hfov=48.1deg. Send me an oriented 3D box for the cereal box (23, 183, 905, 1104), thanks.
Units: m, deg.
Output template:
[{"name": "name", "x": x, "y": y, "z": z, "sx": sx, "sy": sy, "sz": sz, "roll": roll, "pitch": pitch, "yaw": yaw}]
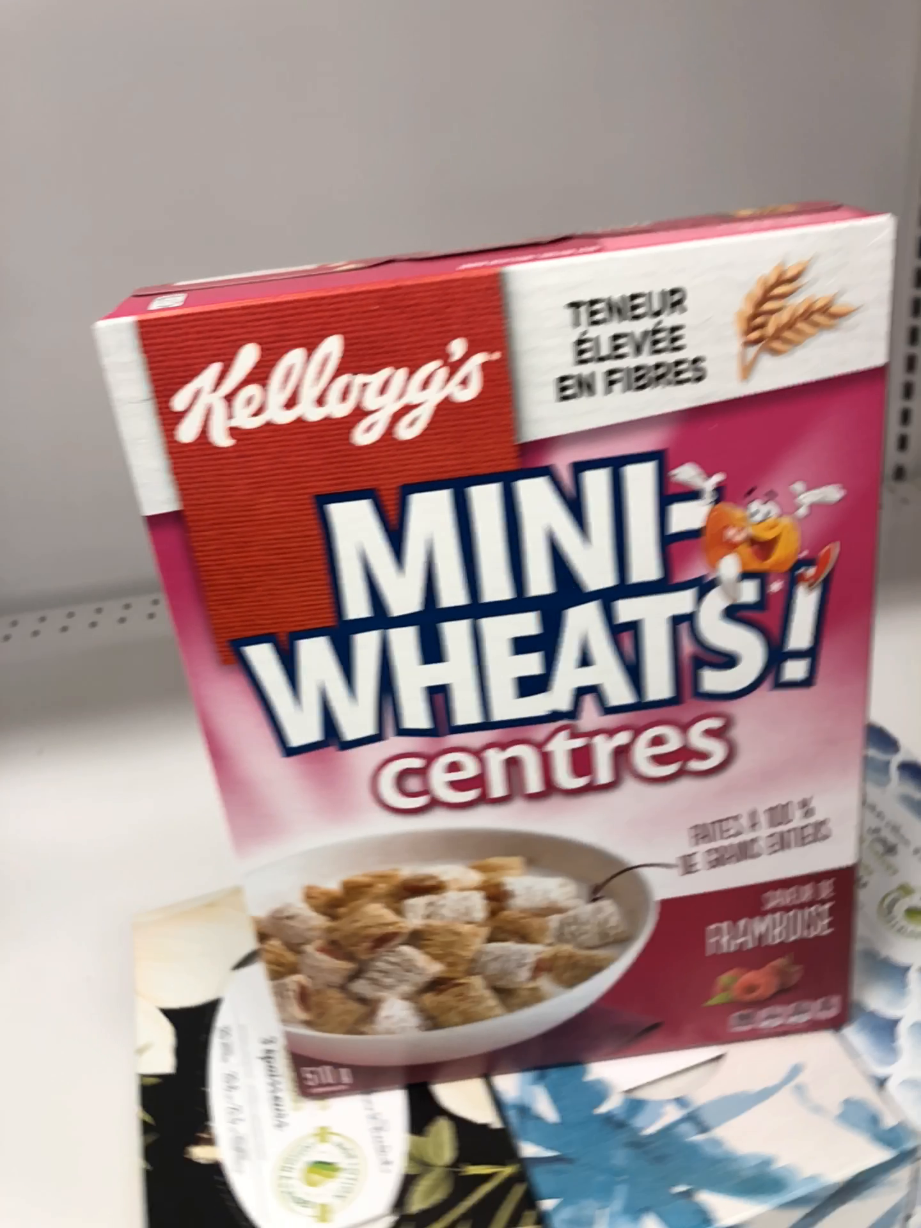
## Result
[{"name": "cereal box", "x": 0.015, "y": 0.024, "z": 0.323, "sx": 0.210, "sy": 0.269, "sz": 0.050, "roll": -7, "pitch": 25, "yaw": 0}]
